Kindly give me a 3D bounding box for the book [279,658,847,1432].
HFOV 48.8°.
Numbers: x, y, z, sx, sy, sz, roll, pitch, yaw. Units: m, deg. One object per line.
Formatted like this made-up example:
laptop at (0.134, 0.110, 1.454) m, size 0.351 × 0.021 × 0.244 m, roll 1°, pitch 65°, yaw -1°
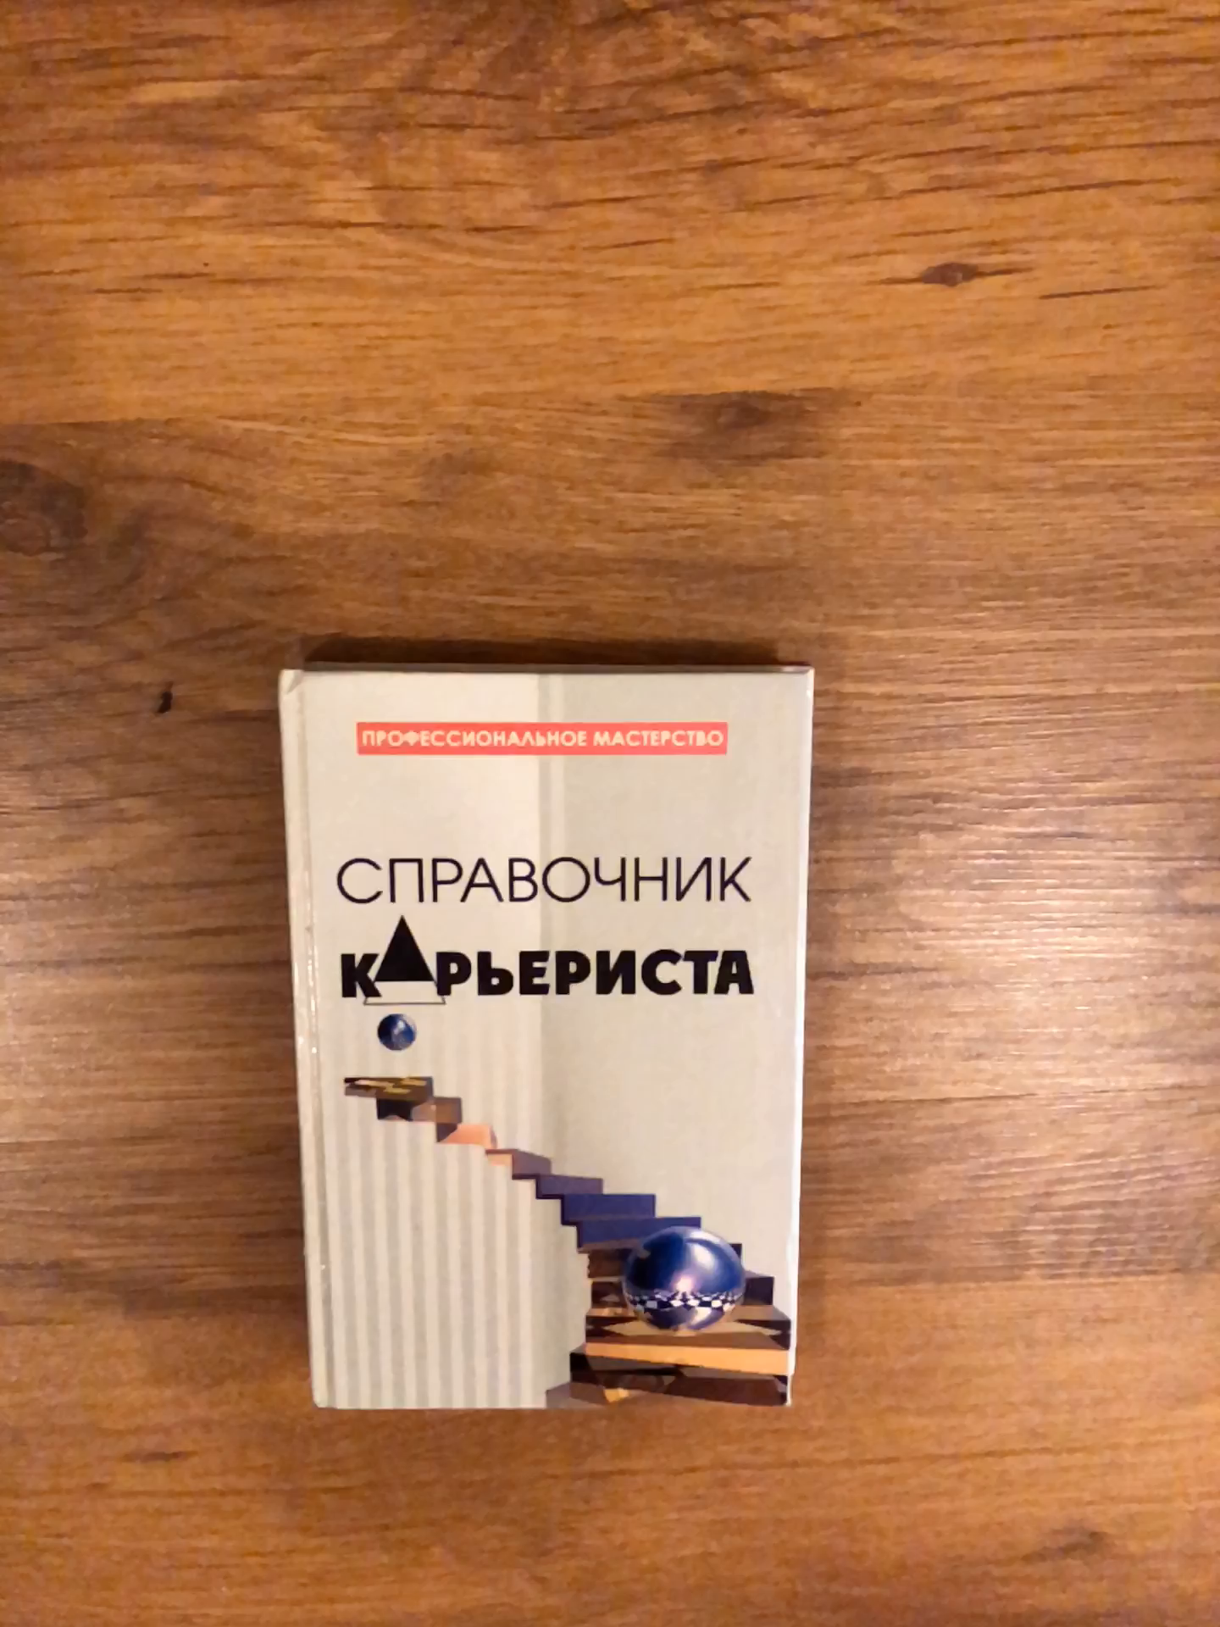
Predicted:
book at (-0.011, 0.063, 0.354) m, size 0.136 × 0.026 × 0.204 m, roll 0°, pitch 101°, yaw 0°
